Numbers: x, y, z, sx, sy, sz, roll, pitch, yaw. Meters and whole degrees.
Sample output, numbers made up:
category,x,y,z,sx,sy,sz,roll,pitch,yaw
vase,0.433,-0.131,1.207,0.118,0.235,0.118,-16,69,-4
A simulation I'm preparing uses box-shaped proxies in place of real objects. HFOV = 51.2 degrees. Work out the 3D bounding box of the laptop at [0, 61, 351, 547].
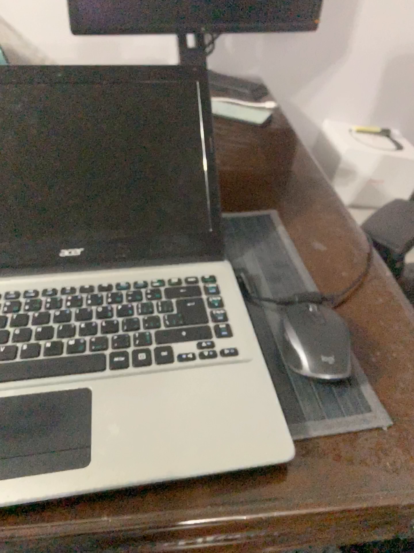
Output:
category,x,y,z,sx,sy,sz,roll,pitch,yaw
laptop,-0.132,-0.044,0.366,0.330,0.146,0.388,-4,41,-11
